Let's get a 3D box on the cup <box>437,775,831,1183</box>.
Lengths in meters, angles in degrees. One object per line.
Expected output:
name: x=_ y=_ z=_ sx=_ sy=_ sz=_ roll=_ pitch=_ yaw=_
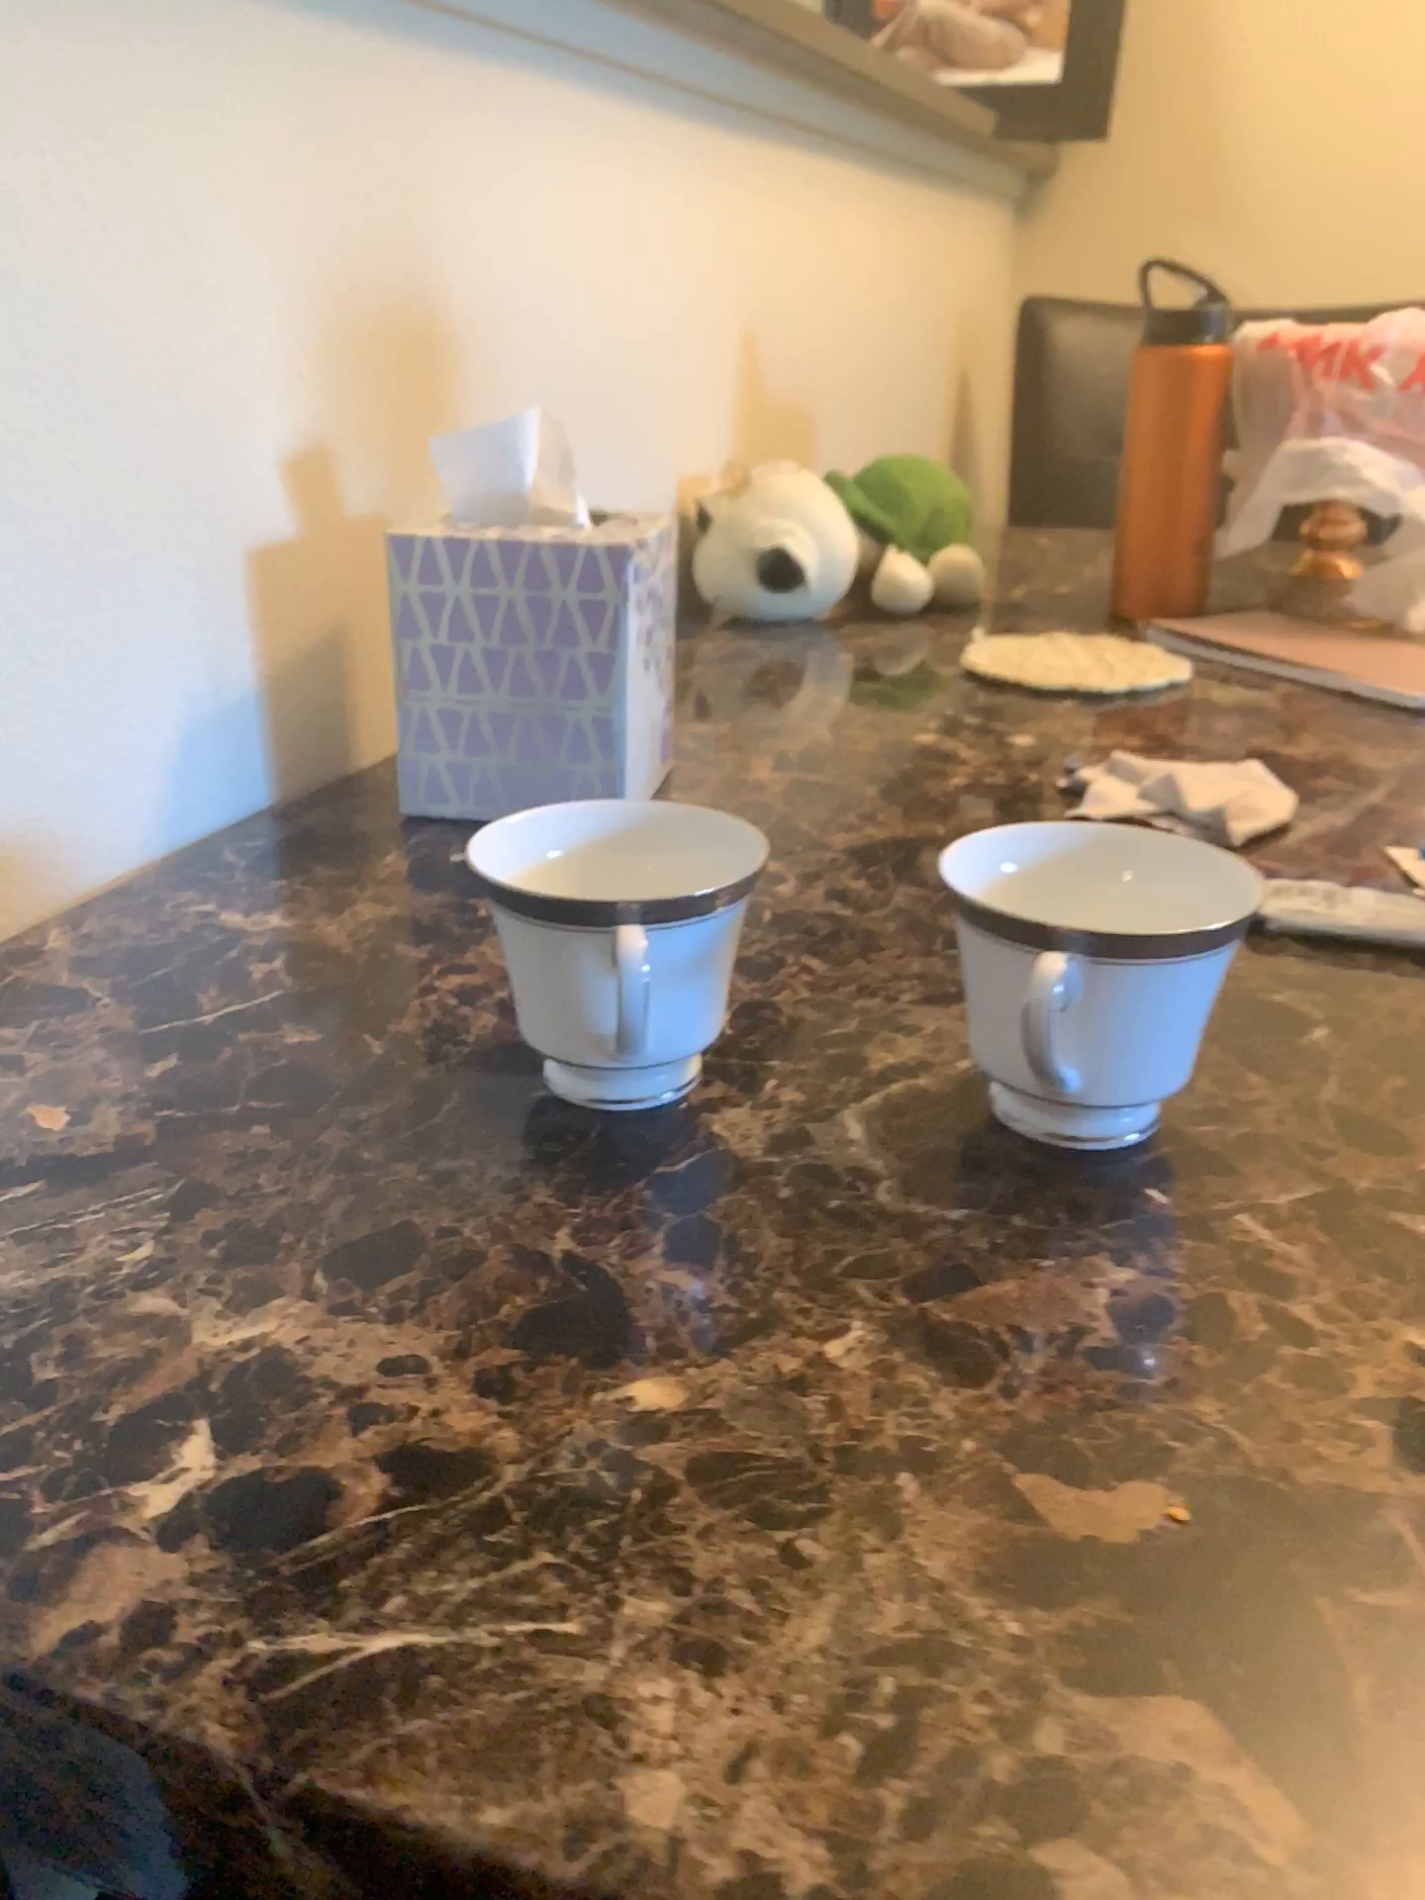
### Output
cup: x=-0.027 y=0.002 z=0.424 sx=0.090 sy=0.070 sz=0.111 roll=-5 pitch=24 yaw=-13

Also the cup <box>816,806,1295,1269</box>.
cup: x=0.099 y=0.016 z=0.416 sx=0.090 sy=0.070 sz=0.120 roll=14 pitch=27 yaw=29
